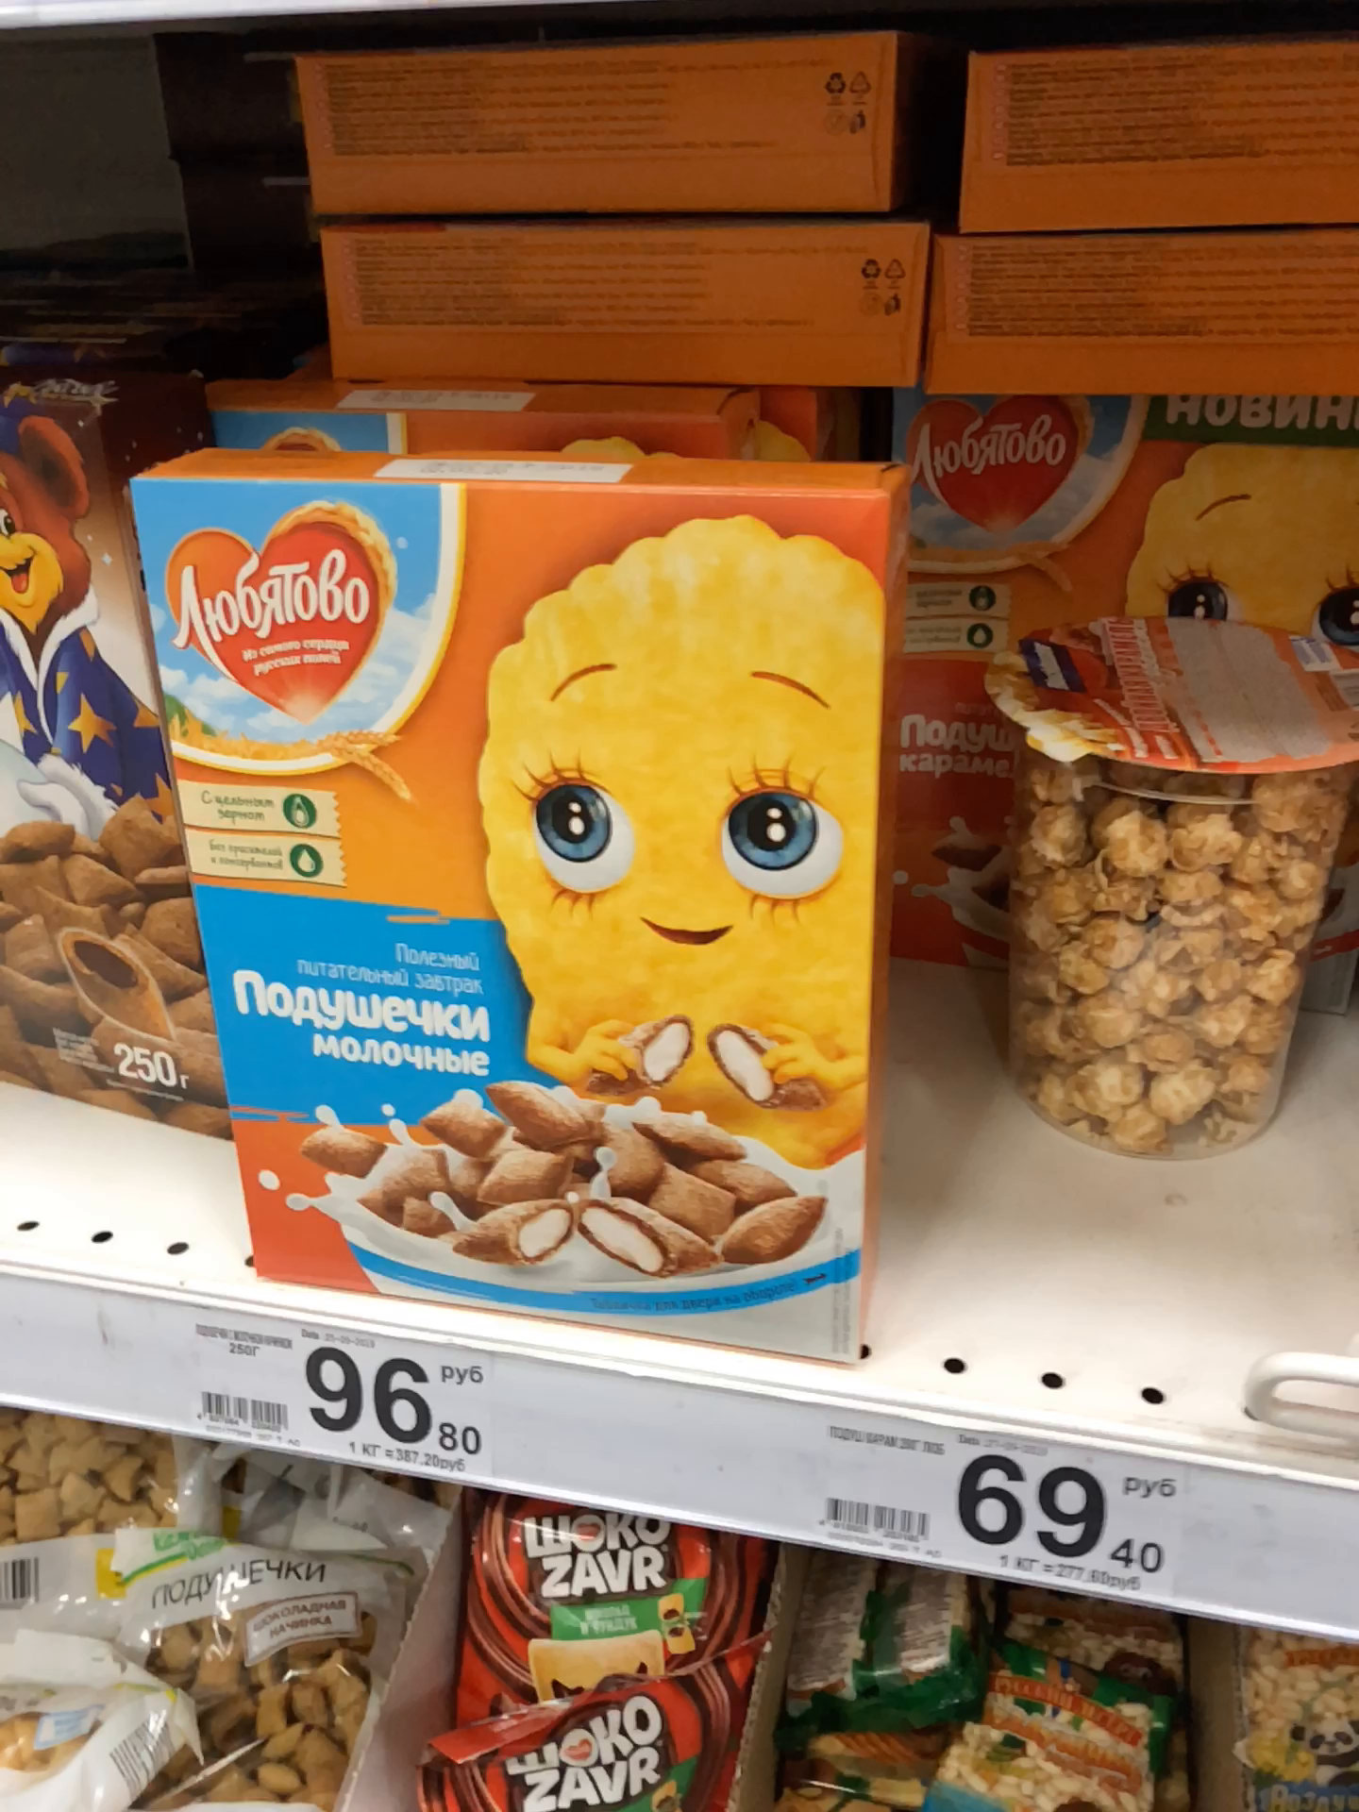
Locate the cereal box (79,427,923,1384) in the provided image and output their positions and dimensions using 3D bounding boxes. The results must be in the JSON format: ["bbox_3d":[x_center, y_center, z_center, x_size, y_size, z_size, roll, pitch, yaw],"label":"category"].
[{"bbox_3d":[-0.037,0.003,0.382,0.180,0.229,0.050,5,26,11],"label":"cereal box"}]
